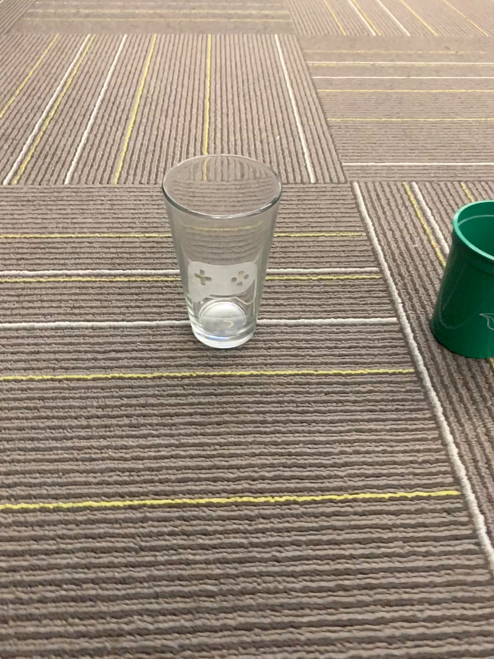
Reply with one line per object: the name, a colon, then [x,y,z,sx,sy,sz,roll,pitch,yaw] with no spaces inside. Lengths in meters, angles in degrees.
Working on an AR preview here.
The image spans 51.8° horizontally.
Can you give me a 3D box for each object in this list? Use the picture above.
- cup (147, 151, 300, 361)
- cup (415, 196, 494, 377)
cup: [-0.020,-0.056,0.392,0.090,0.119,0.091,0,45,0]
cup: [0.194,-0.033,0.415,0.070,0.119,0.080,3,45,3]
